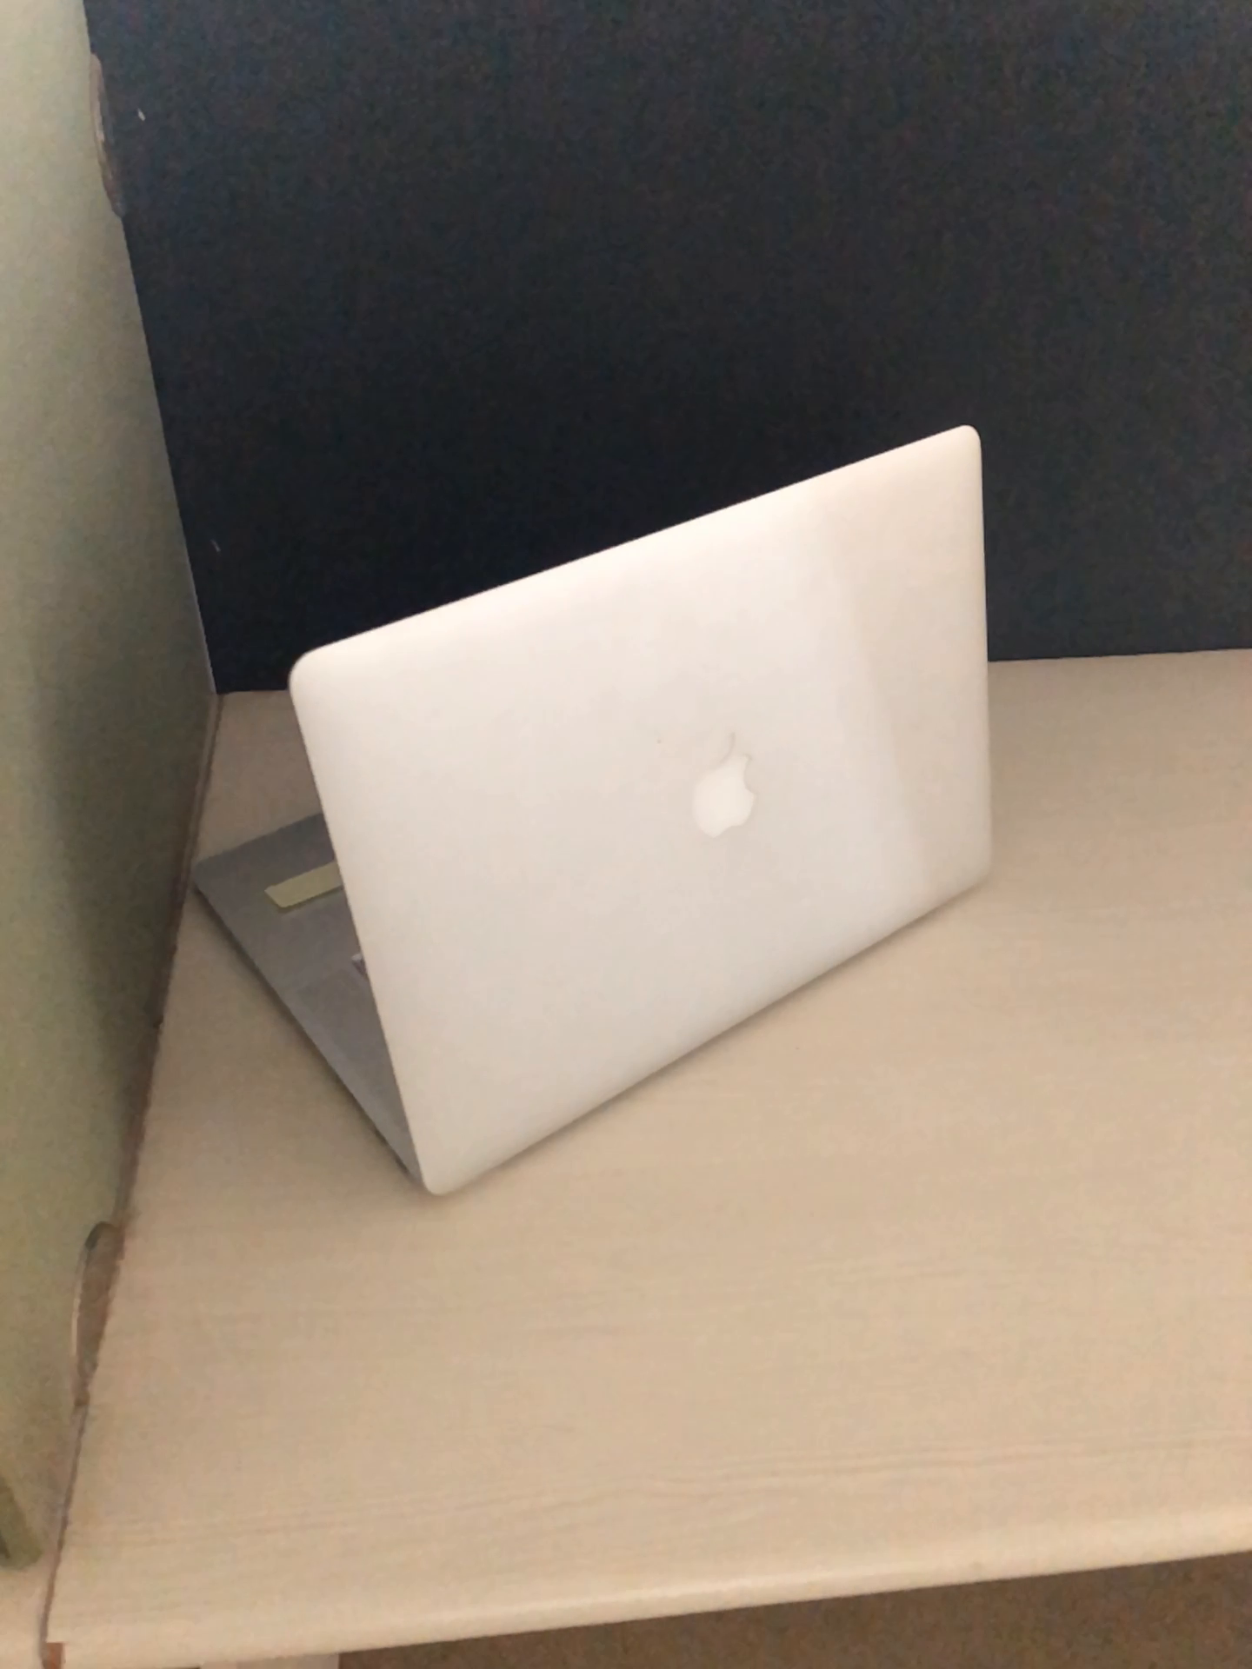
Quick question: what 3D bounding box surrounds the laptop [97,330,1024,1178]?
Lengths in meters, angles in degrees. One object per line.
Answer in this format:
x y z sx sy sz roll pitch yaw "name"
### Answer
-0.029 -0.064 0.673 0.322 0.232 0.244 -25 46 -29 "laptop"
